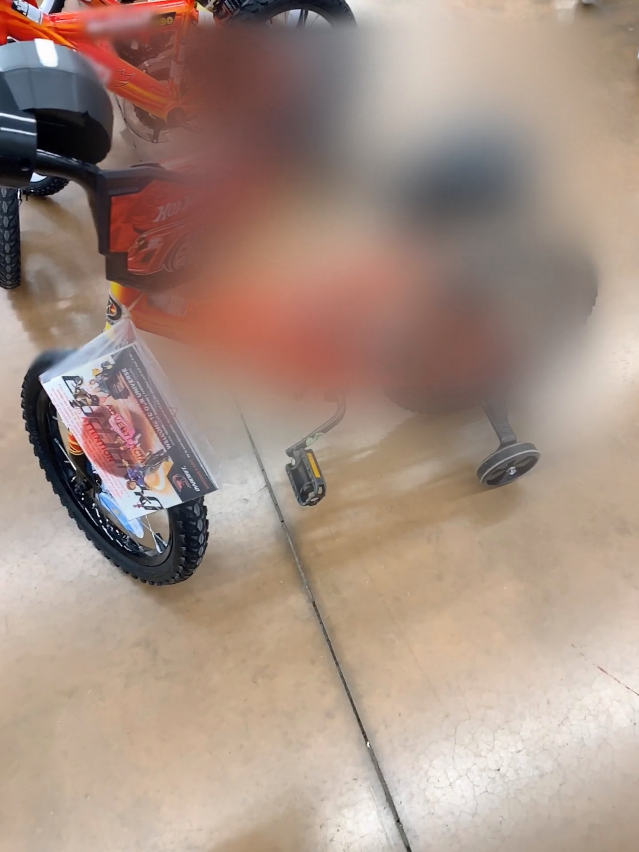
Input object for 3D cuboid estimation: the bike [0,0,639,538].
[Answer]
[{"bbox_3d":[-0.042,-0.284,1.027,0.994,0.822,0.504,-13,59,-2],"label":"bike"}]
